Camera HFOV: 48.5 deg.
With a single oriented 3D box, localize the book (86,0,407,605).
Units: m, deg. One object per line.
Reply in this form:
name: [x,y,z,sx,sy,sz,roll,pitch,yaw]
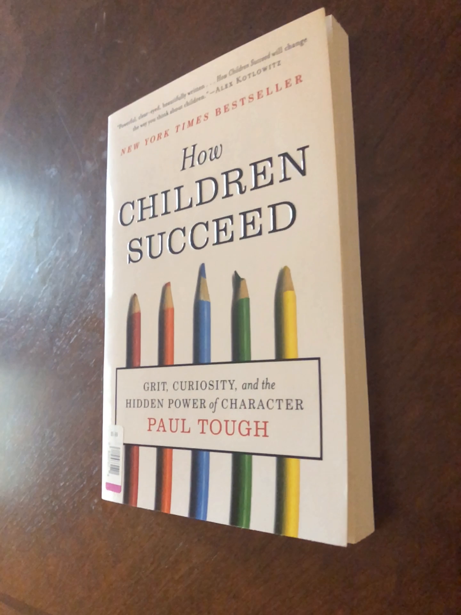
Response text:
book: [-0.005,-0.005,0.225,0.141,0.030,0.210,-7,80,37]
